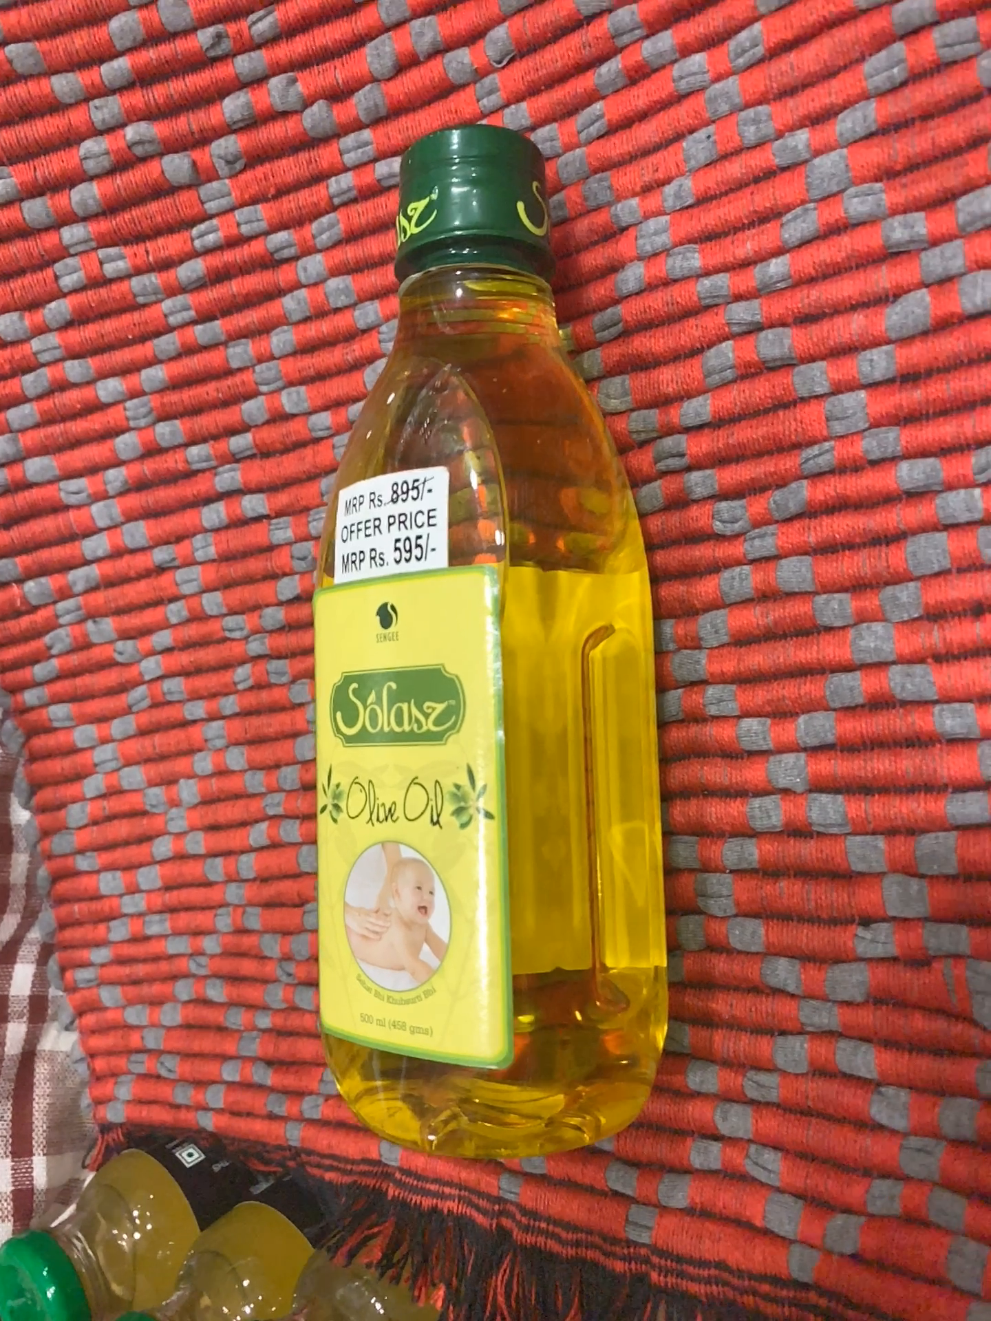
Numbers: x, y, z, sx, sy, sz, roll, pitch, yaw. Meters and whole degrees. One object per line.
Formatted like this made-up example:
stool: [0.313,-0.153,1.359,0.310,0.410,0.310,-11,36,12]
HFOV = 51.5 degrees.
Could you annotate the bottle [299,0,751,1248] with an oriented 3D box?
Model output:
bottle: [0.006,-0.012,0.219,0.070,0.060,0.220,-4,84,39]
